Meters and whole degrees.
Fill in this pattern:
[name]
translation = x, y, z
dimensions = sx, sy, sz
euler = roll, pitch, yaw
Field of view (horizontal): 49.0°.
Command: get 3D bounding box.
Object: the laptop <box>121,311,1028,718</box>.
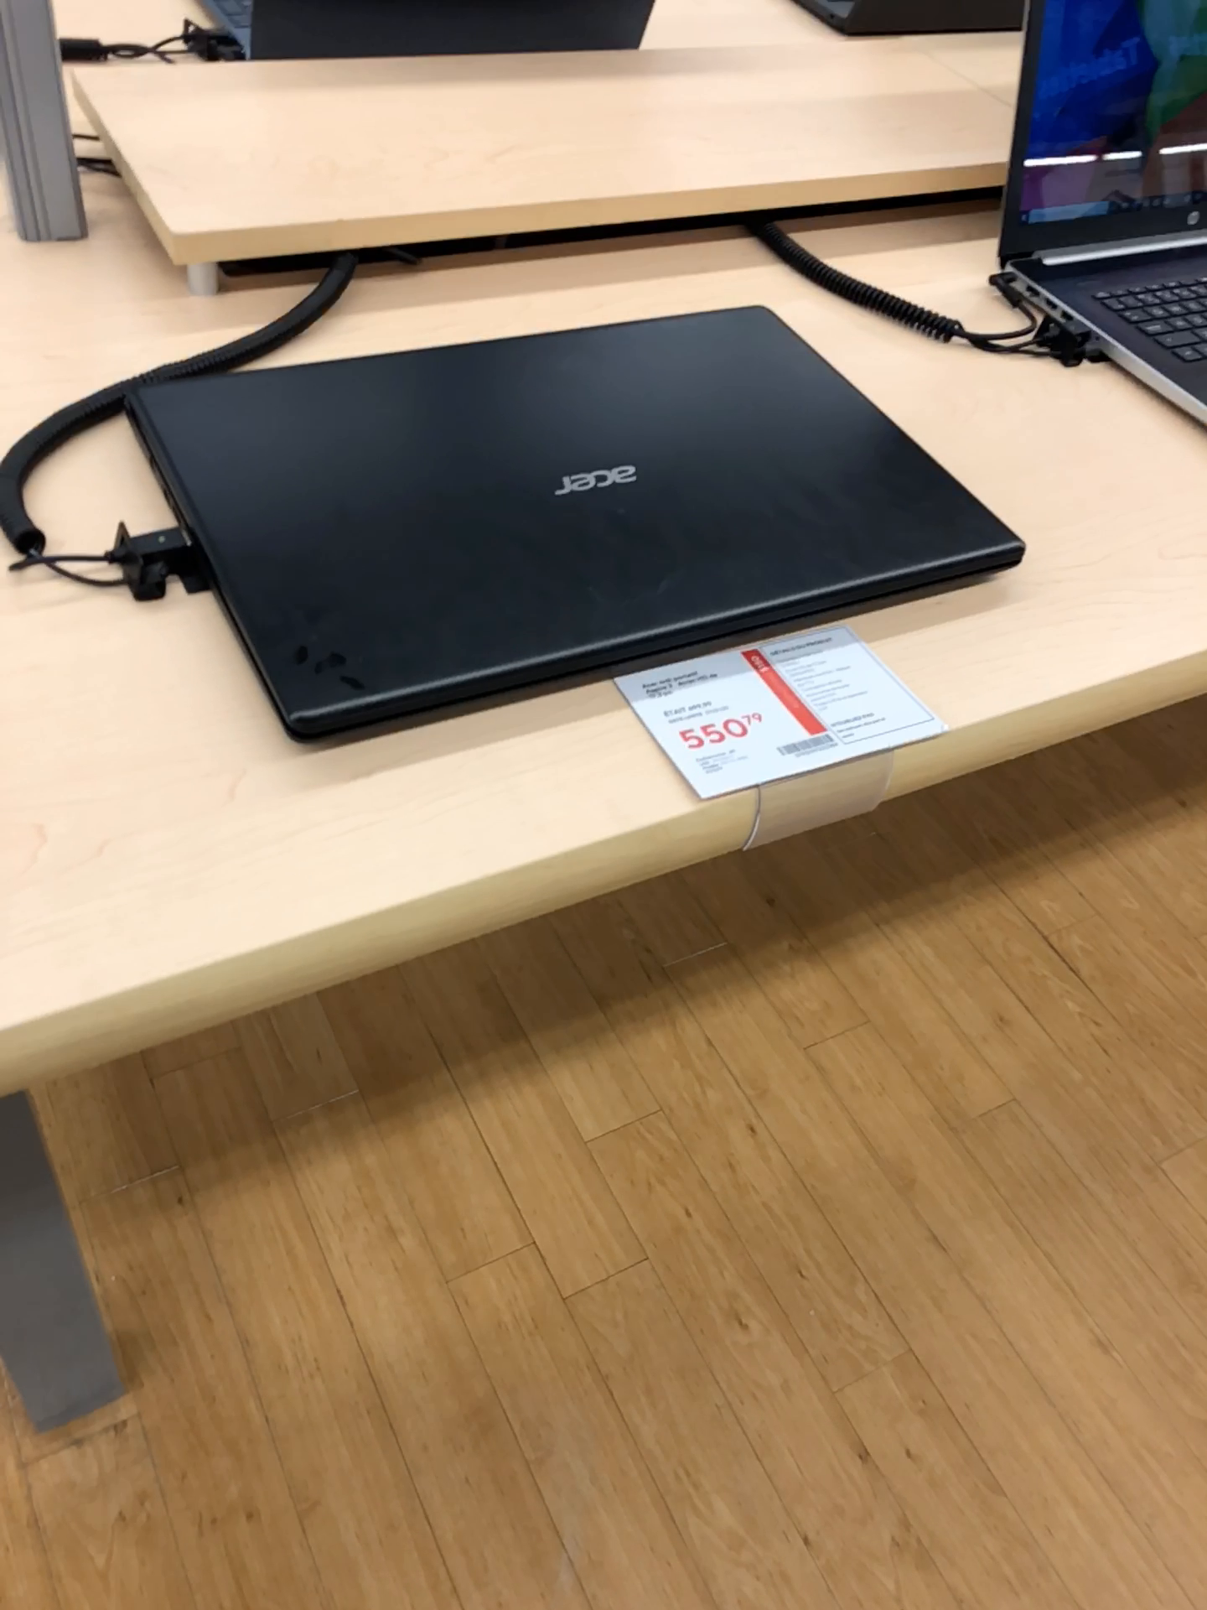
[laptop]
translation = -0.013, -0.182, 0.720
dimensions = 0.417, 0.001, 0.268
euler = -16, 52, -23
